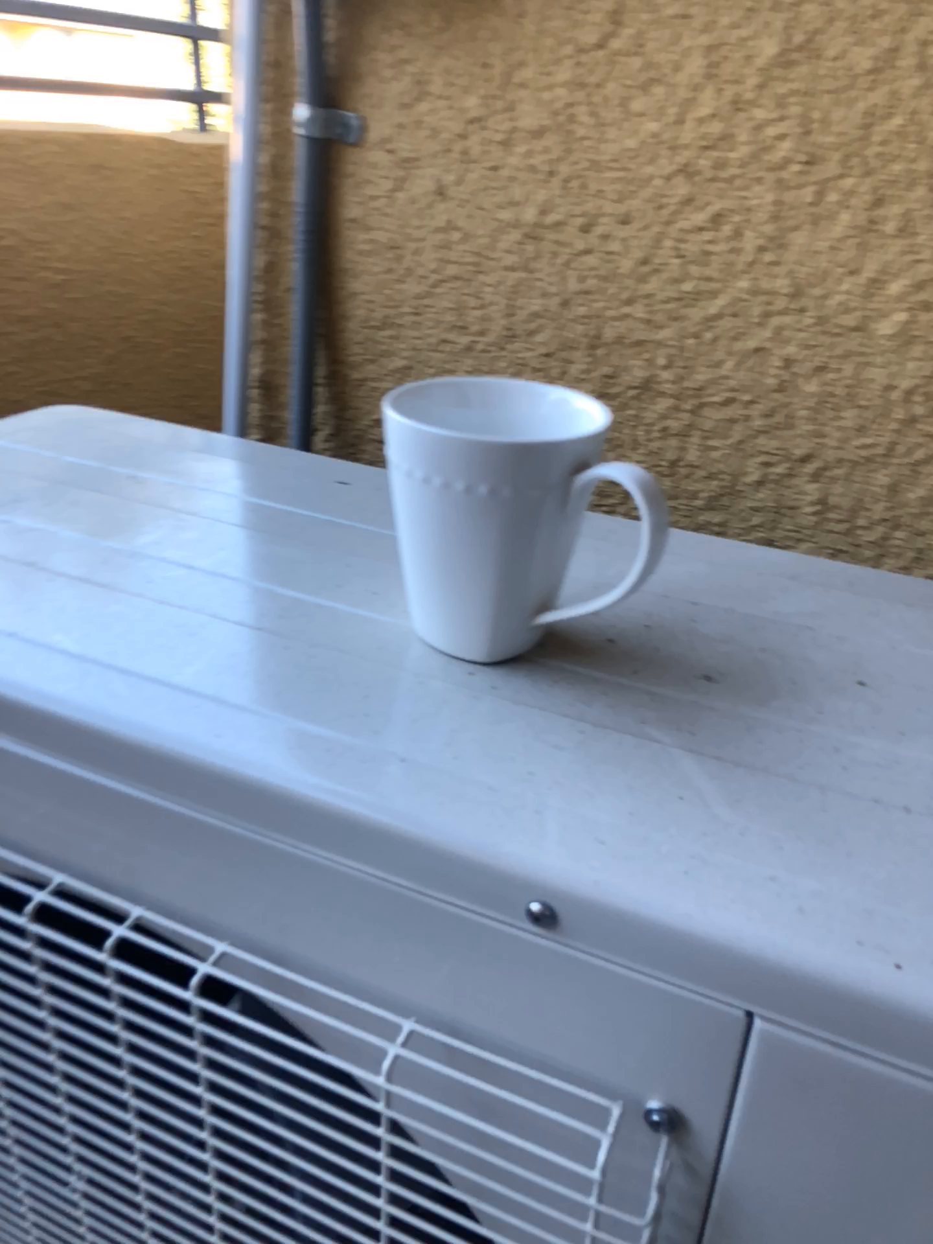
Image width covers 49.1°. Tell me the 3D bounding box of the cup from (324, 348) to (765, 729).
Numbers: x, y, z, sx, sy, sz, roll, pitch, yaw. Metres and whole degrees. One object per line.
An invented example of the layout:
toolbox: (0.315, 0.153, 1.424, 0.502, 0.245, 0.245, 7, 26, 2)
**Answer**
cup: (0.028, -0.044, 0.424, 0.140, 0.100, 0.100, 22, 30, 29)
